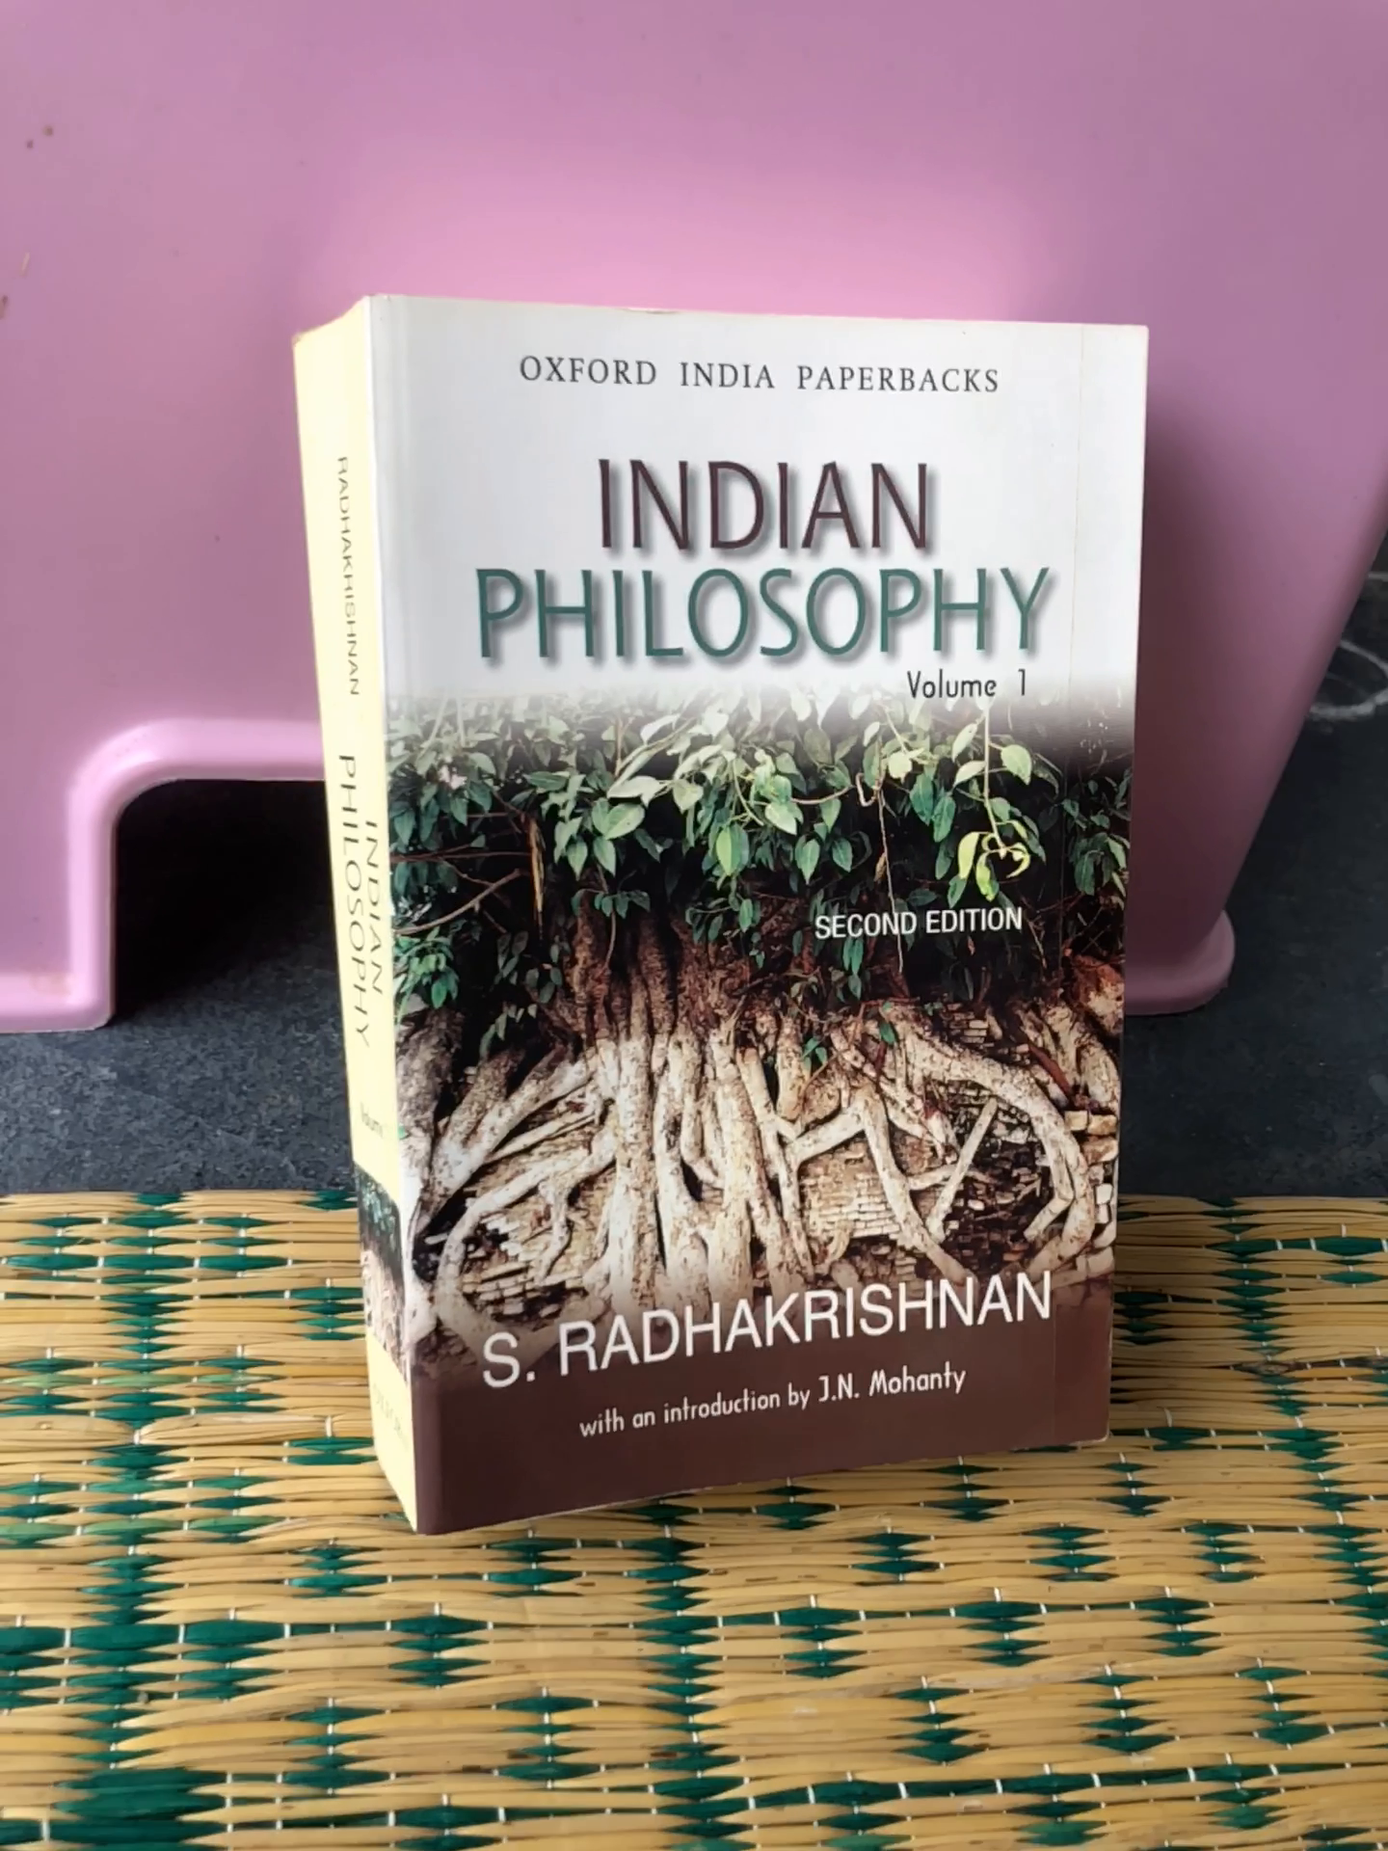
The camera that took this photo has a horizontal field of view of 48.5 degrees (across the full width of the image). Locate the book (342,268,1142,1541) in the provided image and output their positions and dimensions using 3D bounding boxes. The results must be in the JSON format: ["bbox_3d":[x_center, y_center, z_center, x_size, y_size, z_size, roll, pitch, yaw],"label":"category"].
[{"bbox_3d":[0.008,-0.006,0.306,0.140,0.210,0.070,-2,5,-16],"label":"book"}]
